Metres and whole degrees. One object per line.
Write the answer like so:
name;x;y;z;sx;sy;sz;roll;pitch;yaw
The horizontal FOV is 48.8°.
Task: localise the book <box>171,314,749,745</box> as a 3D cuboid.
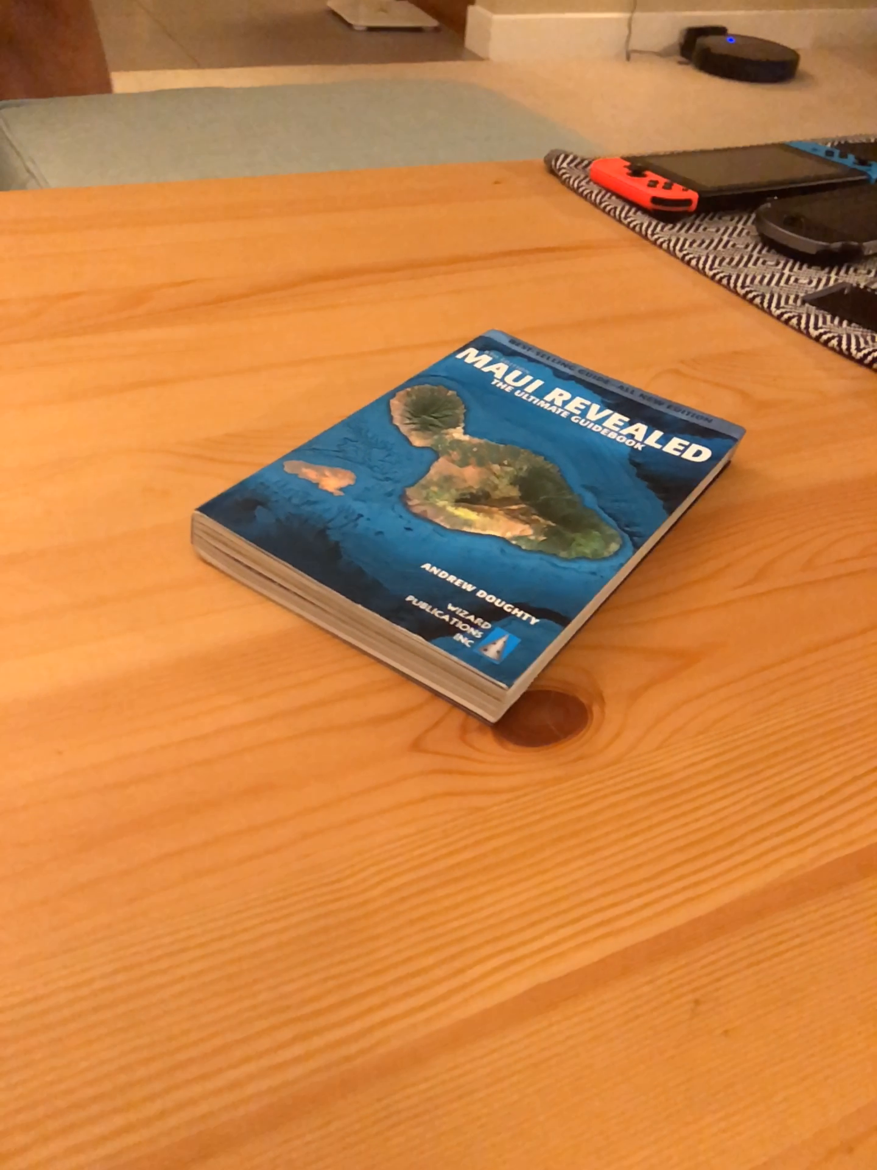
book;0.019;-0.041;0.393;0.146;0.020;0.201;28;47;21
